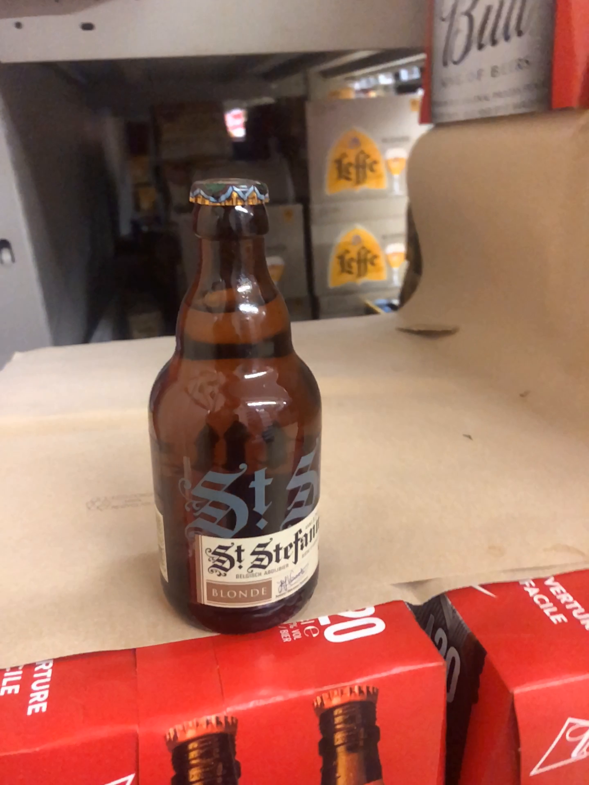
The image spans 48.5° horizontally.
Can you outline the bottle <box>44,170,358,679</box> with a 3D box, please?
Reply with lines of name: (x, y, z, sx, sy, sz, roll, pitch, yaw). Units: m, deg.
bottle: (-0.032, 0.004, 0.259, 0.080, 0.169, 0.080, -3, 21, 1)
